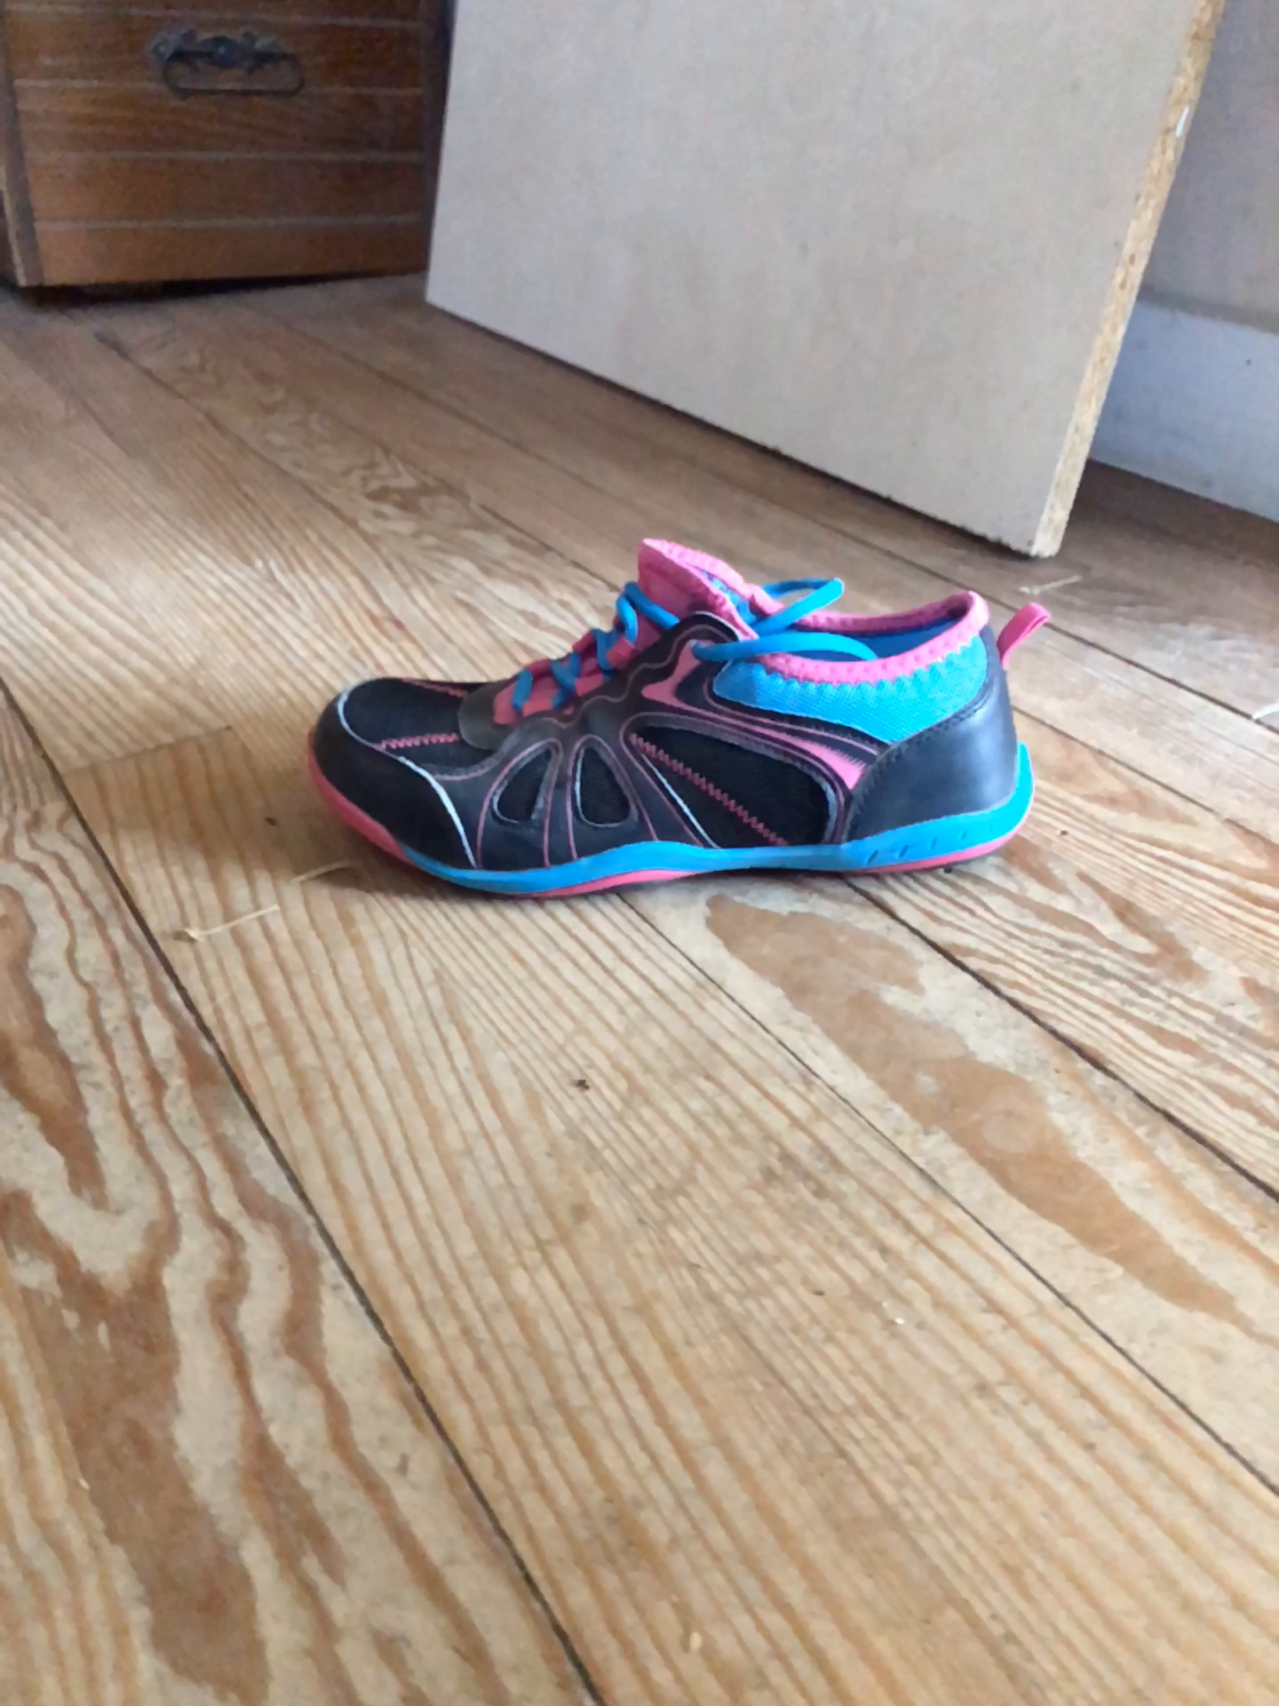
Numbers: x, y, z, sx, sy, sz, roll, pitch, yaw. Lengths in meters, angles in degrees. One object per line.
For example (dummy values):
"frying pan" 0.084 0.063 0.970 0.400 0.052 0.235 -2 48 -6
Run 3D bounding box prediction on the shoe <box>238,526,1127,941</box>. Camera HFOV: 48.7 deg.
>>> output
"shoe" 0.014 -0.045 0.487 0.260 0.099 0.111 1 34 2
